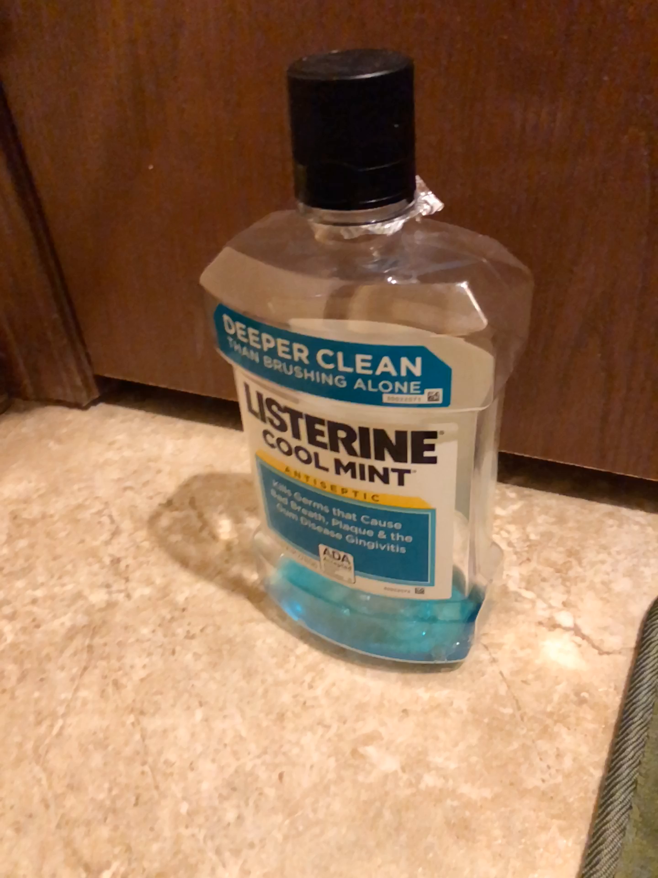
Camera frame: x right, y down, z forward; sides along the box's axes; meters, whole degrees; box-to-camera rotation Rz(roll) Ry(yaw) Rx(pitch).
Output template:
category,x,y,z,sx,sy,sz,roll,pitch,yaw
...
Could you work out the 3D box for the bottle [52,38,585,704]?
category,x,y,z,sx,sy,sz,roll,pitch,yaw
bottle,0.006,-0.022,0.283,0.130,0.219,0.090,16,43,25
